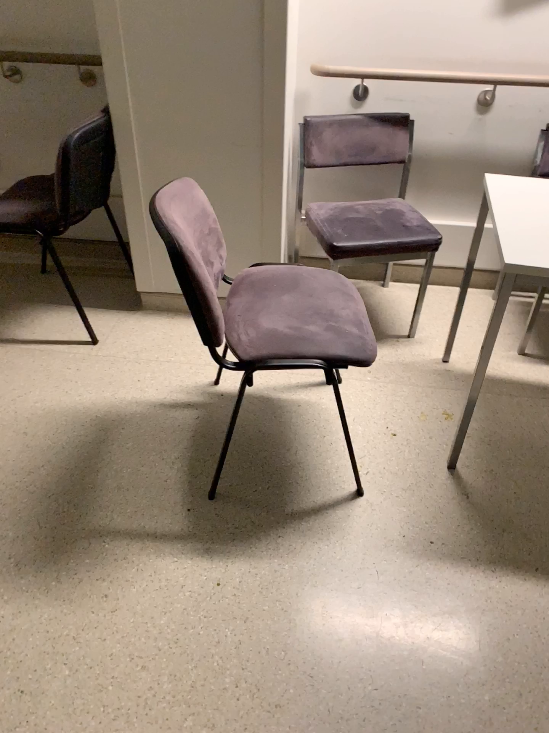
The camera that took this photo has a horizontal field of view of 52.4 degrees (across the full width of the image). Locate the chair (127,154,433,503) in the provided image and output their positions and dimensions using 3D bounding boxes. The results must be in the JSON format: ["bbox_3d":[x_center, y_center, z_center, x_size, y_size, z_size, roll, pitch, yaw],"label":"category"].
[{"bbox_3d":[-0.006,-0.111,1.561,0.600,0.752,0.606,-1,37,-3],"label":"chair"}]

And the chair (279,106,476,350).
[{"bbox_3d":[0.331,-0.548,2.171,0.500,0.723,0.565,-7,38,-10],"label":"chair"}]
